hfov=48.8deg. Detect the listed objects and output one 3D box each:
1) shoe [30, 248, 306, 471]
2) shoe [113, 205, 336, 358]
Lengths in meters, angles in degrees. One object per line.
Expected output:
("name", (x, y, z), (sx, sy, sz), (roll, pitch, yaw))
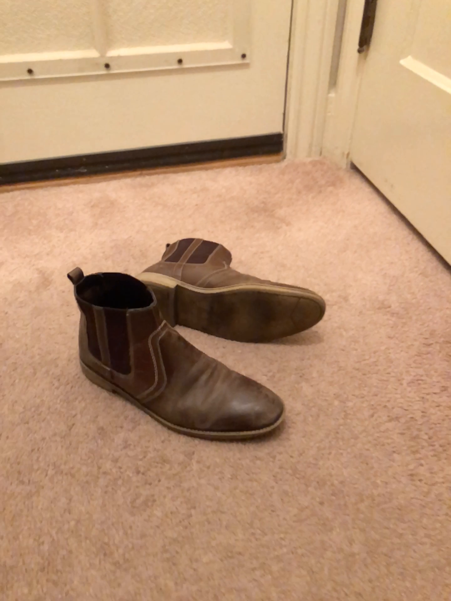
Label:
("shoe", (-0.069, 0.070, 0.644), (0.308, 0.175, 0.116), (16, 43, 18))
("shoe", (0.008, -0.041, 0.817), (0.313, 0.114, 0.187), (9, 43, 11))
